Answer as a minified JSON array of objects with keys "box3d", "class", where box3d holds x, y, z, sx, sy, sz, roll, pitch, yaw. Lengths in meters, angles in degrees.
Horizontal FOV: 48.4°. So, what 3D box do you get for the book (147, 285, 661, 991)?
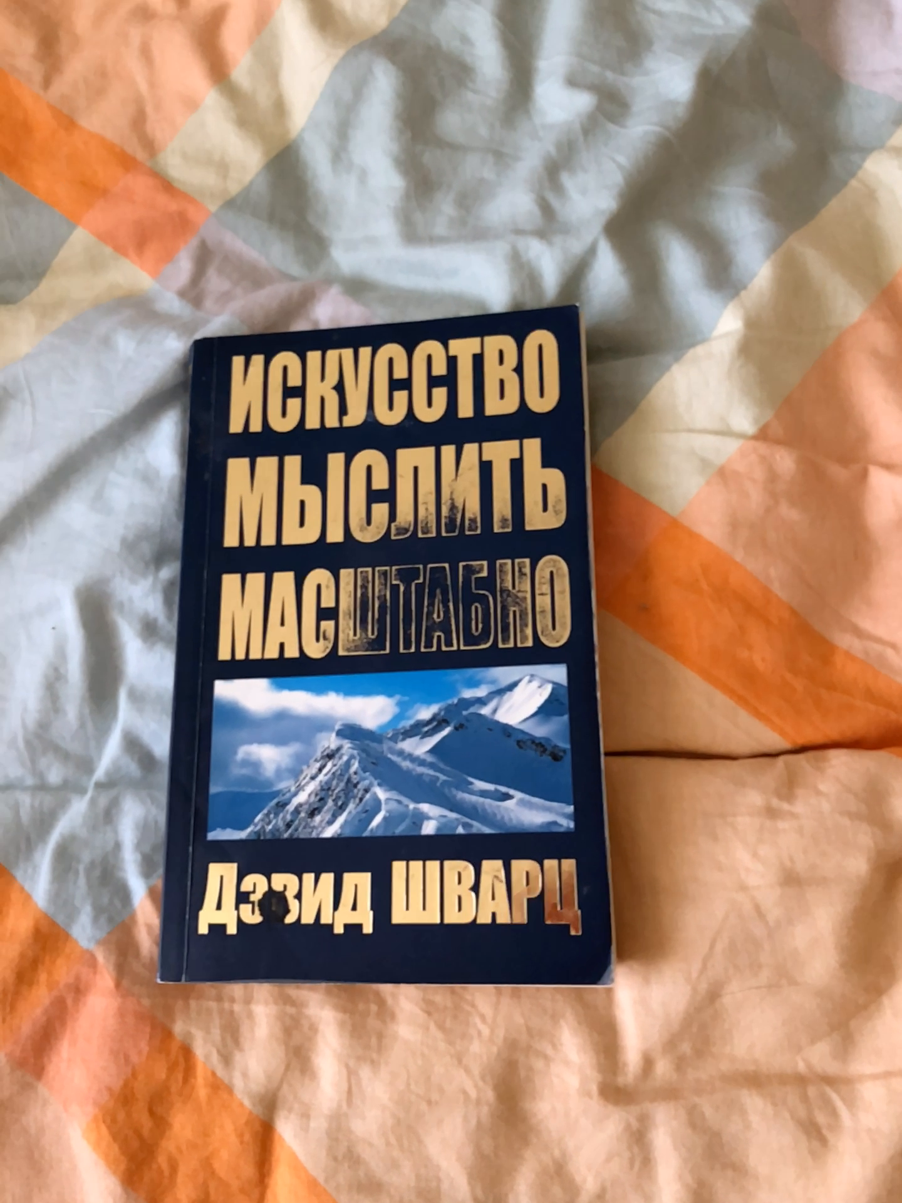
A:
[{"box3d":[-0.012,0.007,0.283,0.127,0.028,0.189,-3,74,8],"class":"book"}]
